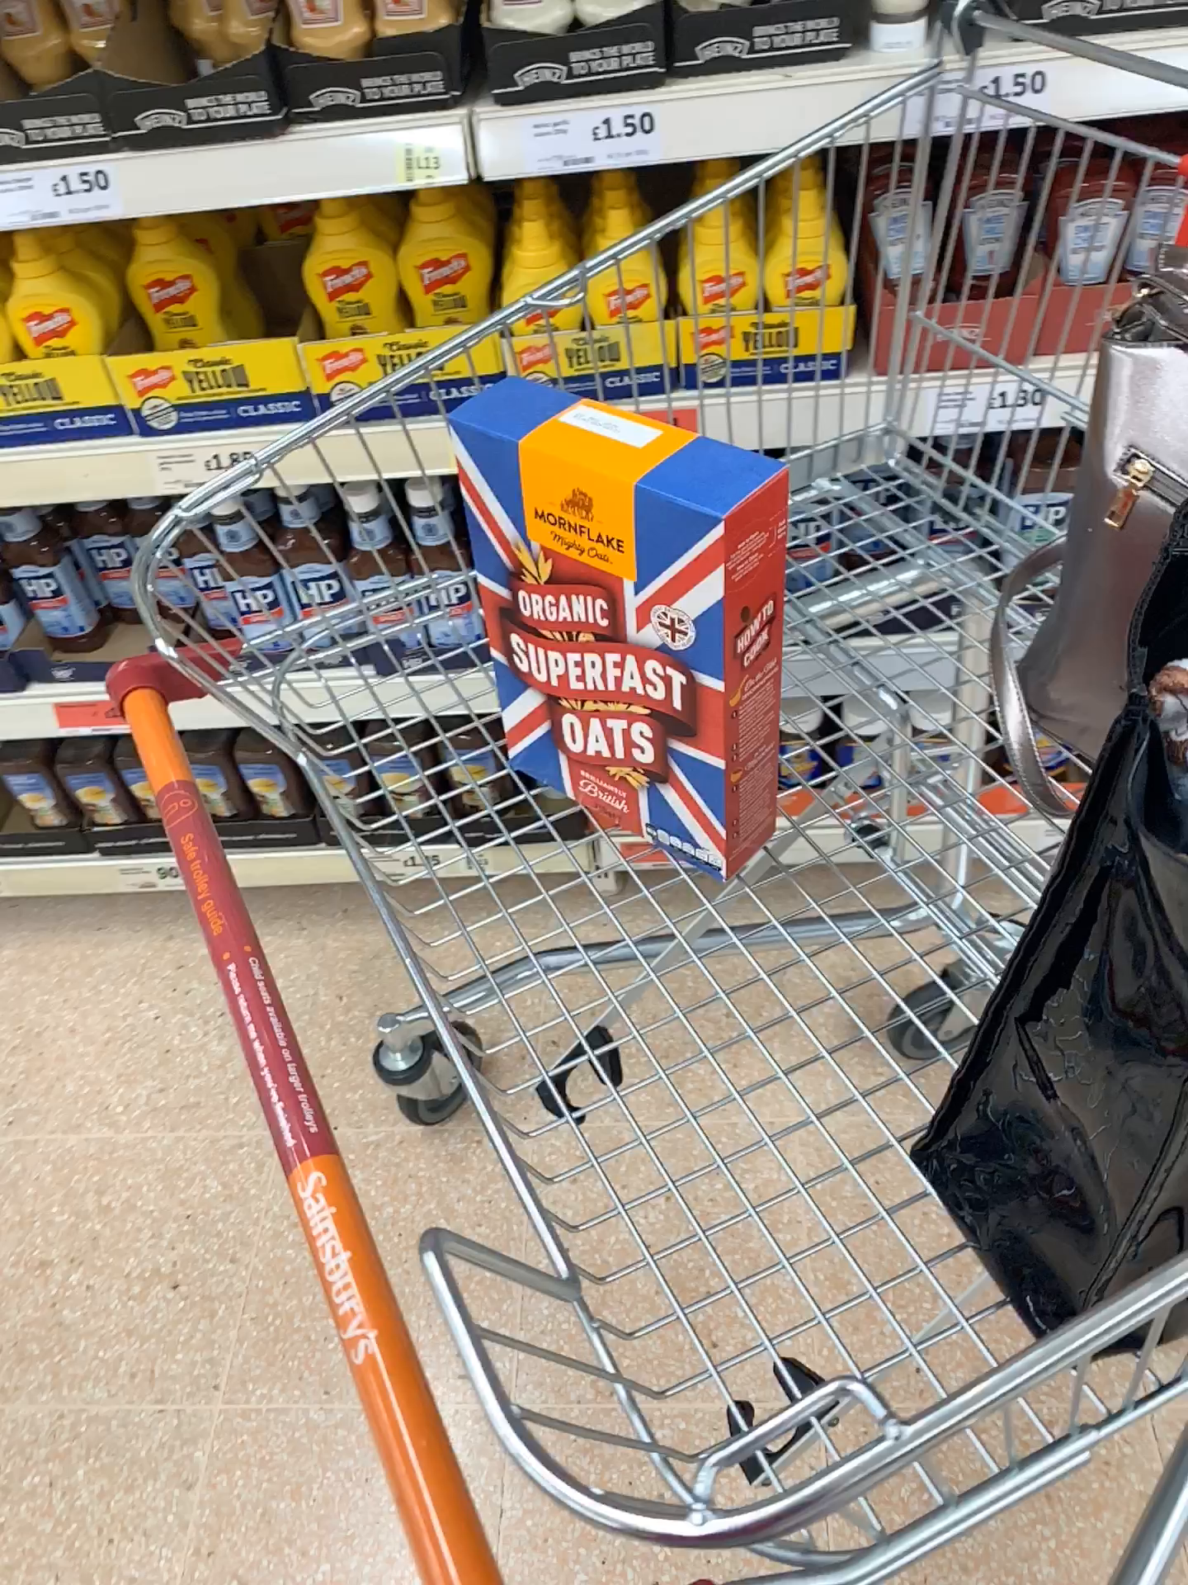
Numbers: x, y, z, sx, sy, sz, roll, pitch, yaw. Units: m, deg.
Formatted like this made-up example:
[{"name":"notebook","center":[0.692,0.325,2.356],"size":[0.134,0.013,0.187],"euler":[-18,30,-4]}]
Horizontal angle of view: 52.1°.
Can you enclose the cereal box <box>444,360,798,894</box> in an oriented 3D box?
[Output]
[{"name":"cereal box","center":[0.018,-0.085,0.674],"size":[0.181,0.258,0.050],"euler":[28,53,31]}]
